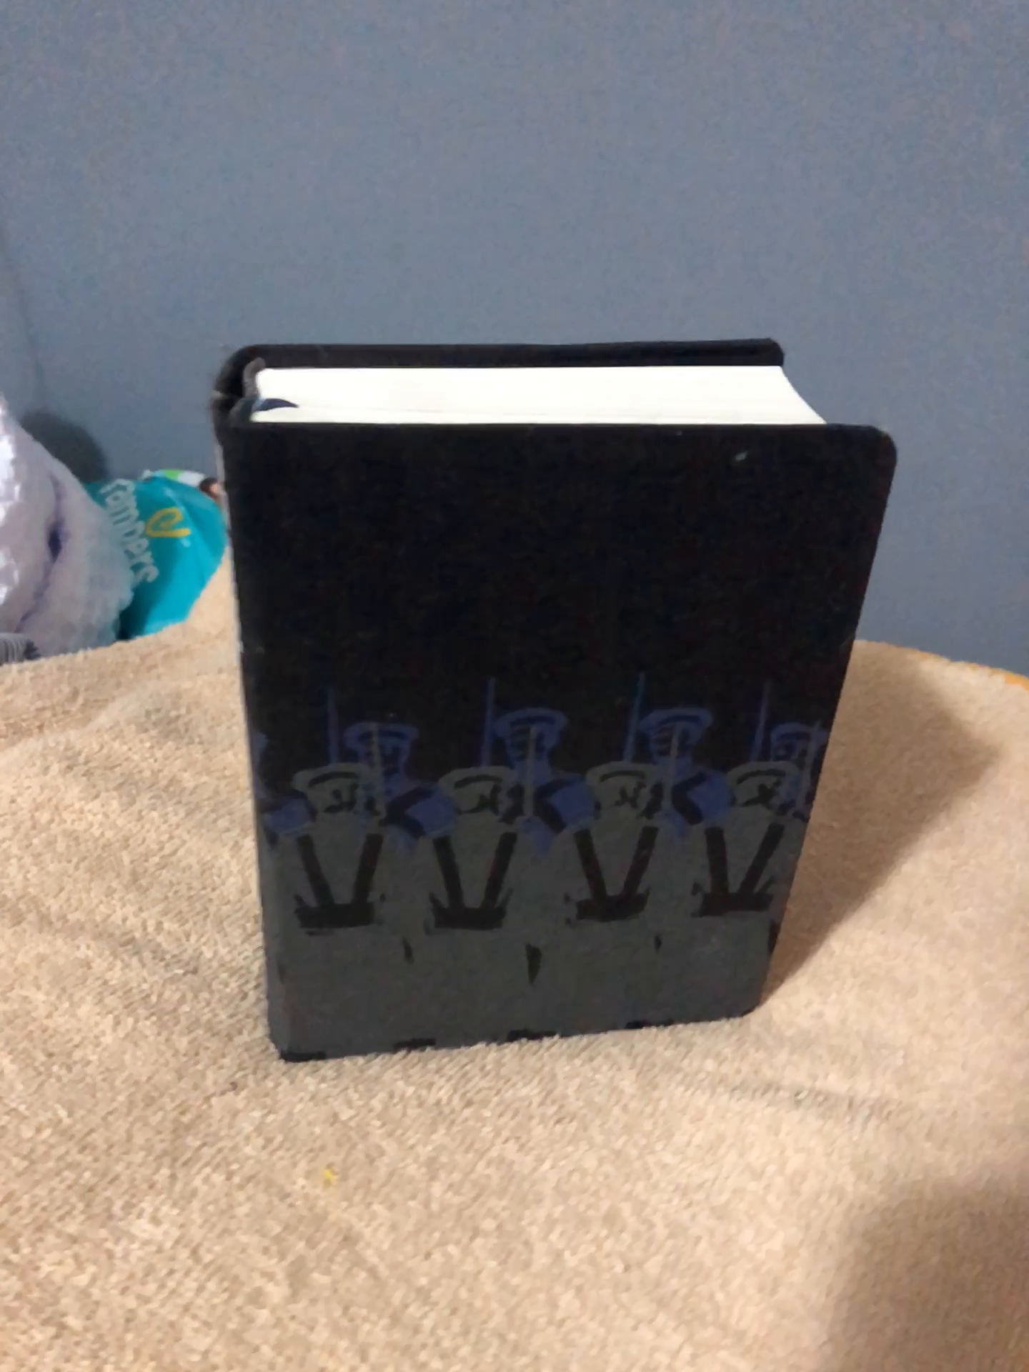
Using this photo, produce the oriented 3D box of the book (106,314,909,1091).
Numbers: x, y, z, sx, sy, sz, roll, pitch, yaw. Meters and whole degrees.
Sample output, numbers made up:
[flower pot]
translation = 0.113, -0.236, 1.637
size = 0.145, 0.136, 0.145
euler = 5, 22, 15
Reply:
[book]
translation = -0.005, 0.008, 0.283
size = 0.150, 0.179, 0.060
euler = -4, 33, -9
